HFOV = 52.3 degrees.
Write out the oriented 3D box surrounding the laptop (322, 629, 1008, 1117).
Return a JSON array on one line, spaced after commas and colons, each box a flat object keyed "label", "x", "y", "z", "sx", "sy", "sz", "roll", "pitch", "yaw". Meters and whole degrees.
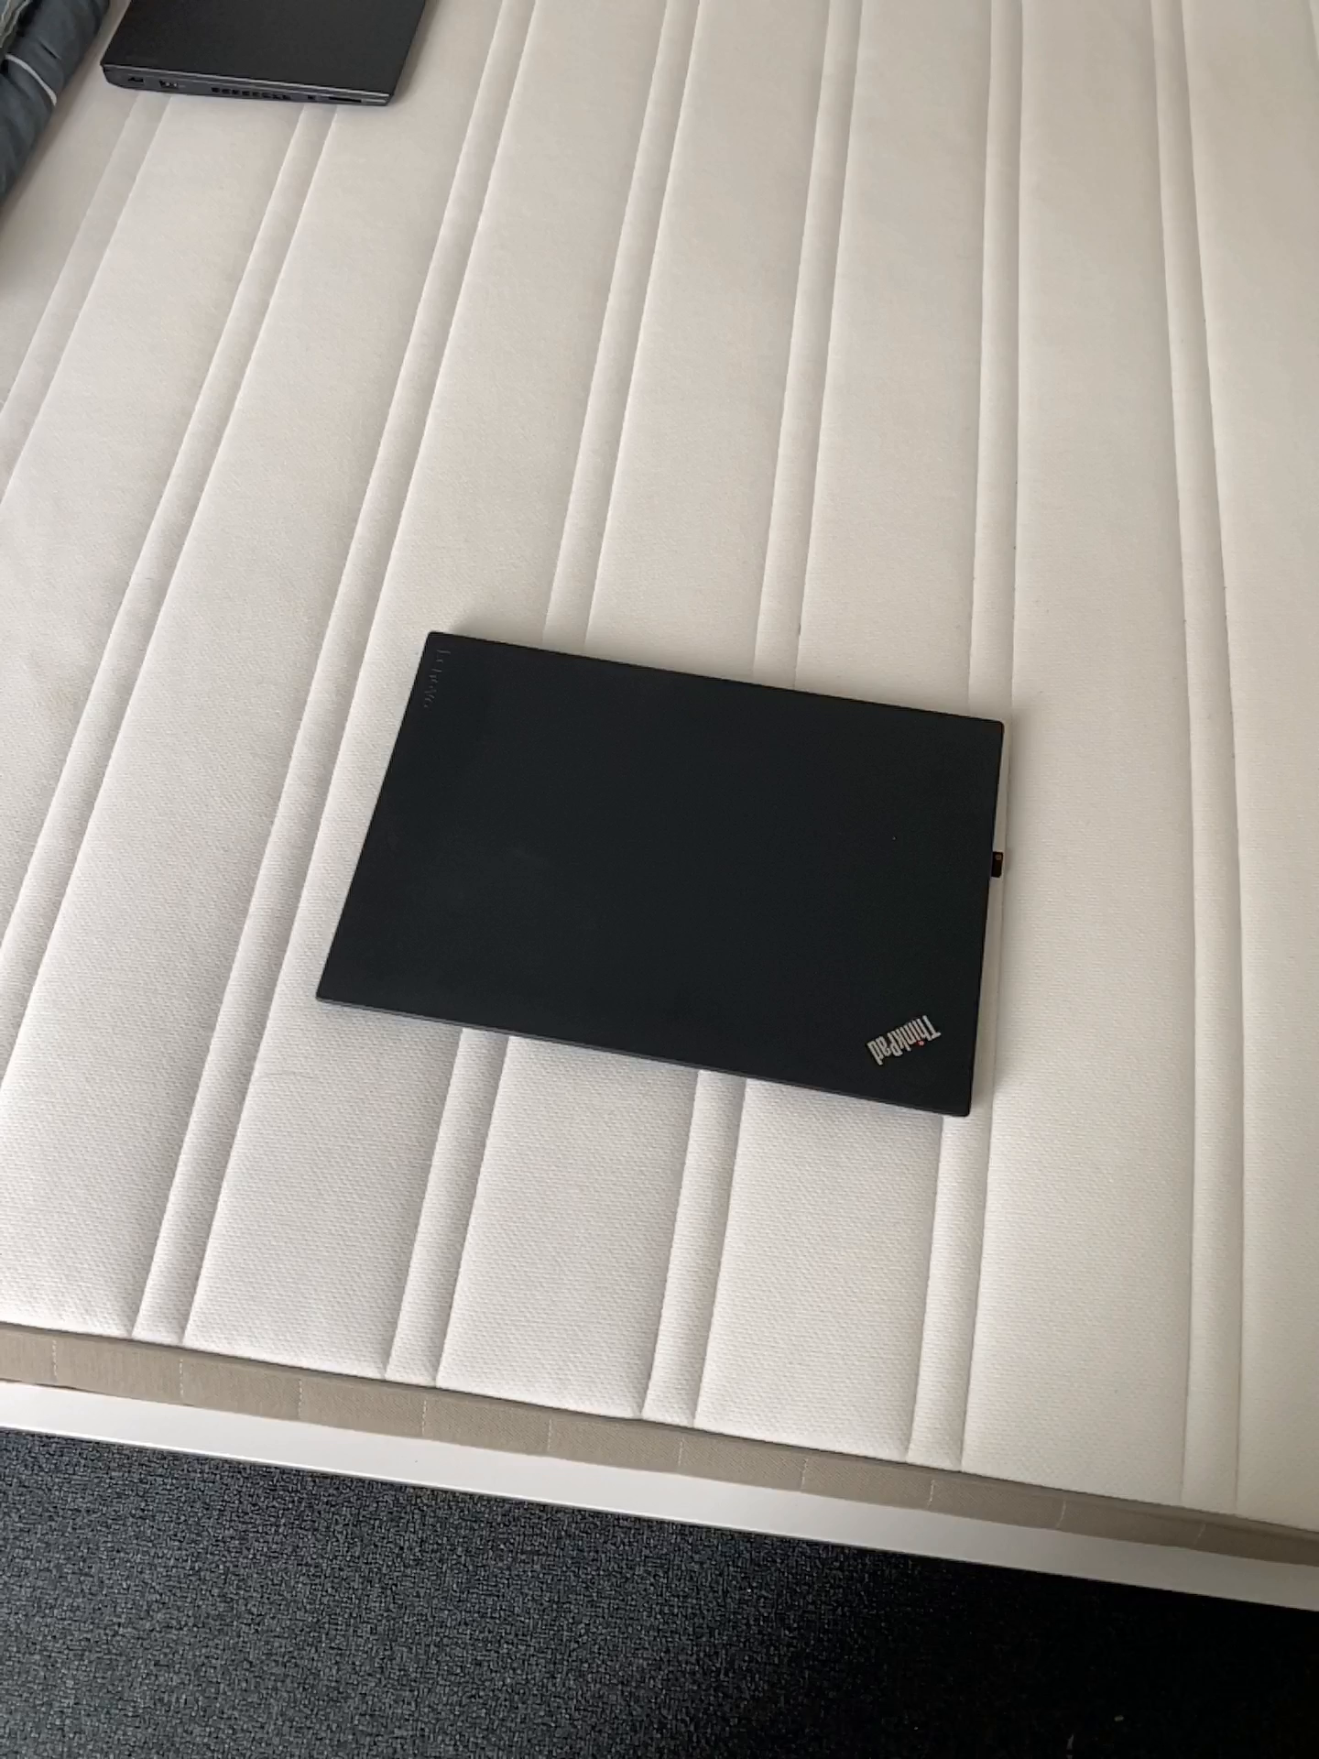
[{"label": "laptop", "x": 0.010, "y": -0.011, "z": 0.628, "sx": 0.288, "sy": 0.005, "sz": 0.193, "roll": 10, "pitch": 68, "yaw": 3}]
